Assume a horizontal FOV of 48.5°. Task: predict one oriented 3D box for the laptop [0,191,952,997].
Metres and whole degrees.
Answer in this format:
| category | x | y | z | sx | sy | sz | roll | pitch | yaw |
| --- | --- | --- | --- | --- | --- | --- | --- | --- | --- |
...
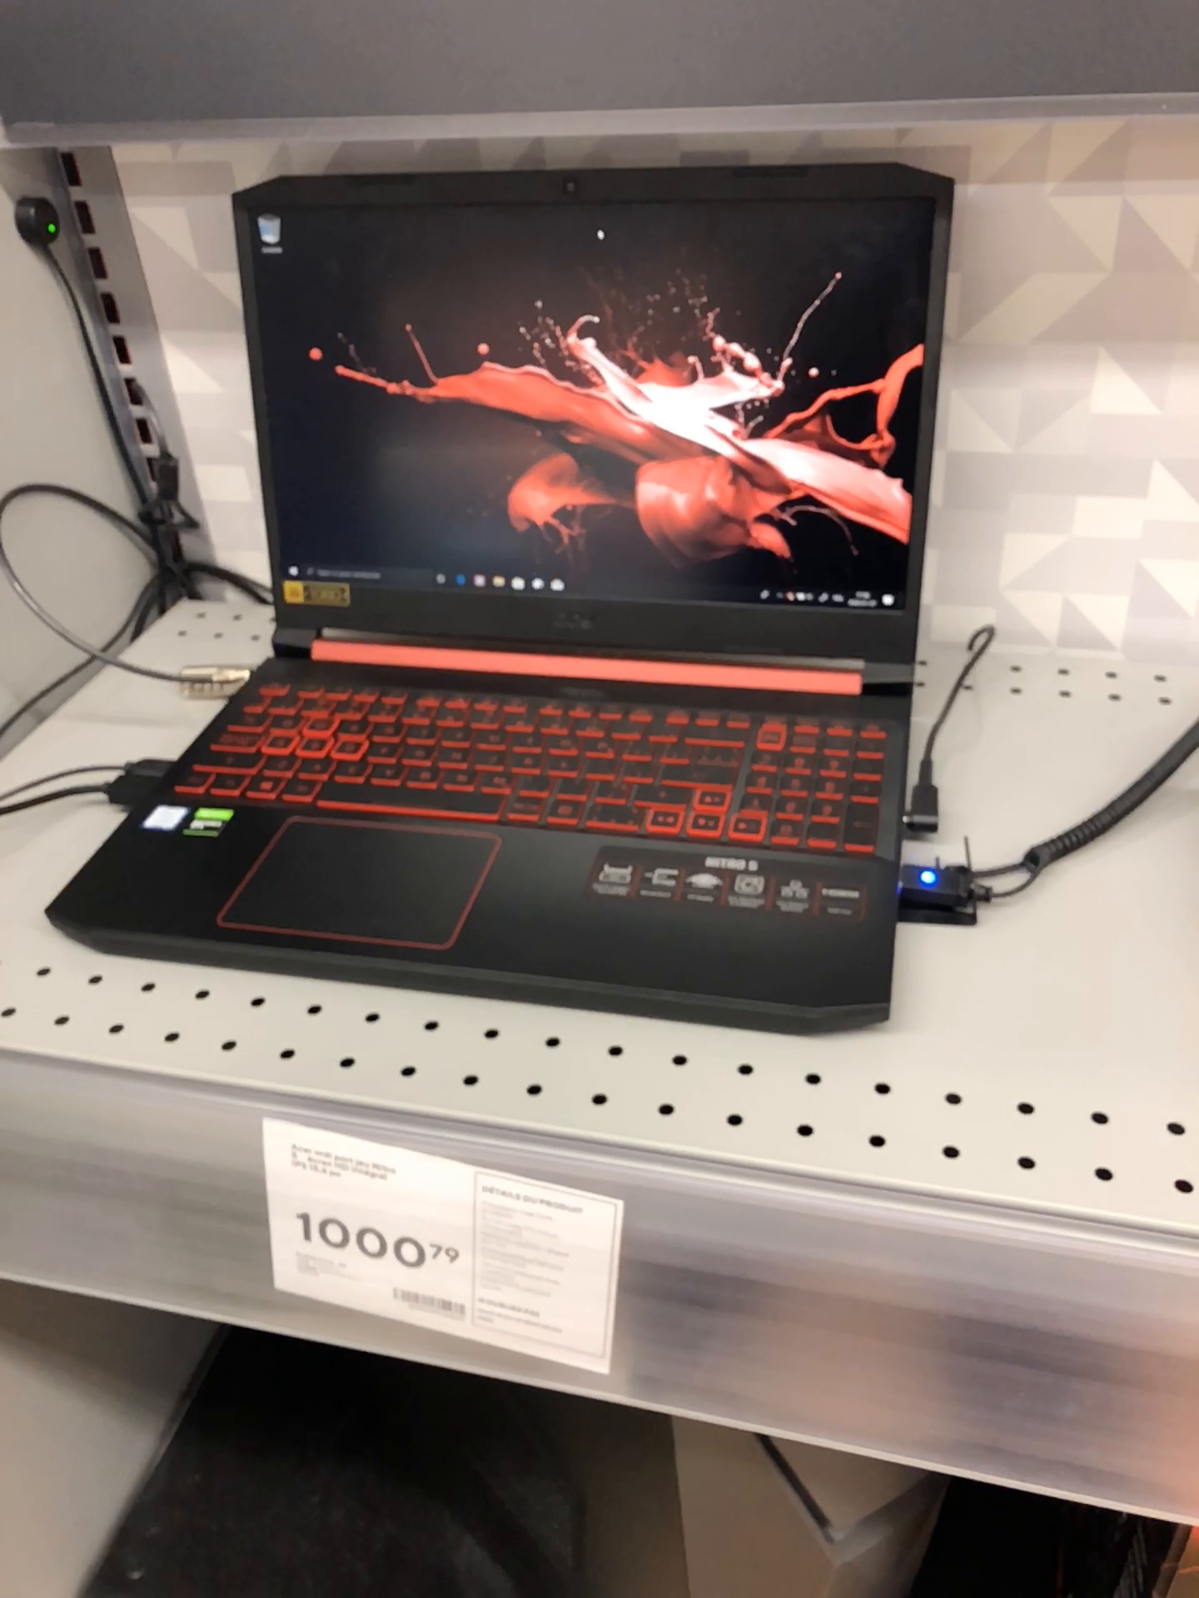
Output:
| category | x | y | z | sx | sy | sz | roll | pitch | yaw |
| --- | --- | --- | --- | --- | --- | --- | --- | --- | --- |
| laptop | -0.040 | -0.114 | 0.602 | 0.361 | 0.241 | 0.282 | 5 | 36 | 12 |
